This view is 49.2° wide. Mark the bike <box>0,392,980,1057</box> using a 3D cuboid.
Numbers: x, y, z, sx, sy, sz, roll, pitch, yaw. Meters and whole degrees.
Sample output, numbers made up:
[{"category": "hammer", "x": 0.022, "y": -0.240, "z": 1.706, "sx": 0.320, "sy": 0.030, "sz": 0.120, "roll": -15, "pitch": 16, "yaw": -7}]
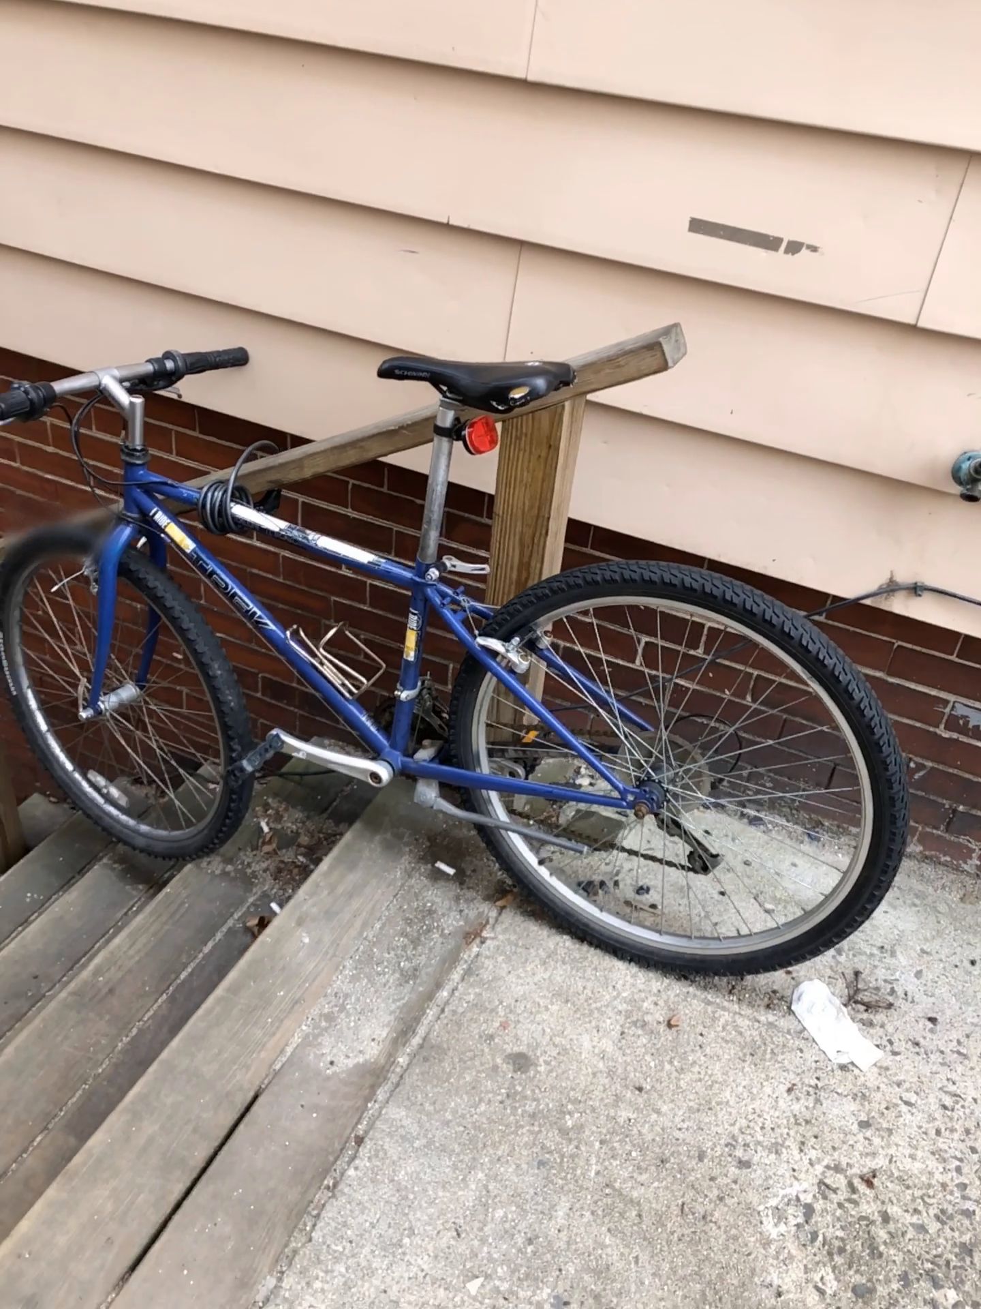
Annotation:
[{"category": "bike", "x": -0.137, "y": -0.002, "z": 1.774, "sx": 1.520, "sy": 0.619, "sz": 0.535, "roll": 11, "pitch": 32, "yaw": 23}]
